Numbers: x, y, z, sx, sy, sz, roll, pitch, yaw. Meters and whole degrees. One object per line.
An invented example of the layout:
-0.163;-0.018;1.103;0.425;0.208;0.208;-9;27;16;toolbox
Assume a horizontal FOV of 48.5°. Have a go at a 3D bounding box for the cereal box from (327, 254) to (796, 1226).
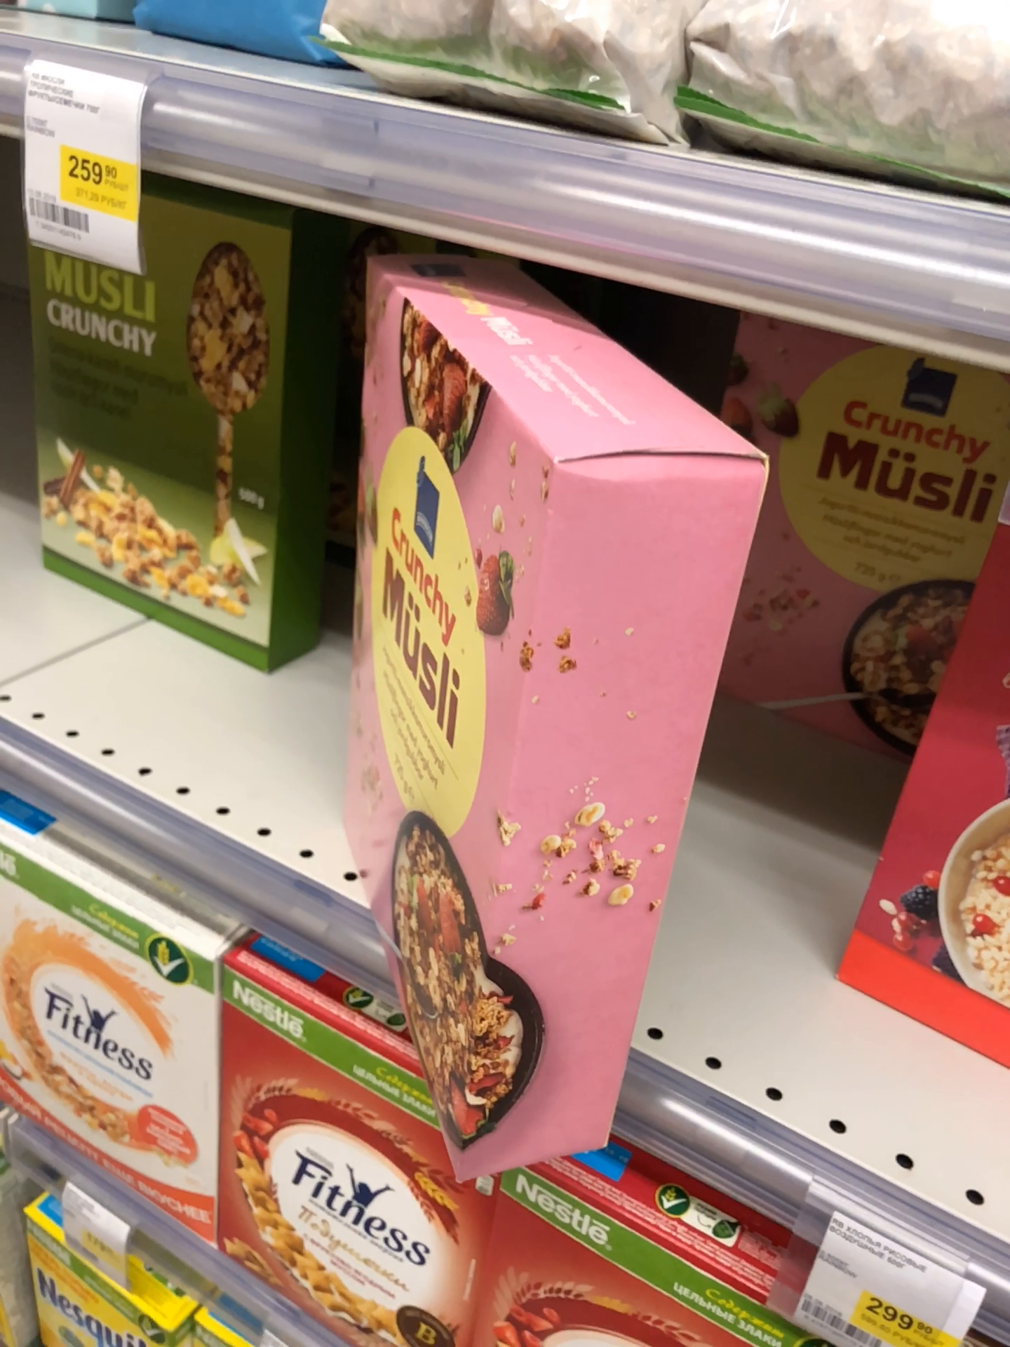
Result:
-0.009;0.015;0.387;0.060;0.258;0.201;-5;33;-19;cereal box
